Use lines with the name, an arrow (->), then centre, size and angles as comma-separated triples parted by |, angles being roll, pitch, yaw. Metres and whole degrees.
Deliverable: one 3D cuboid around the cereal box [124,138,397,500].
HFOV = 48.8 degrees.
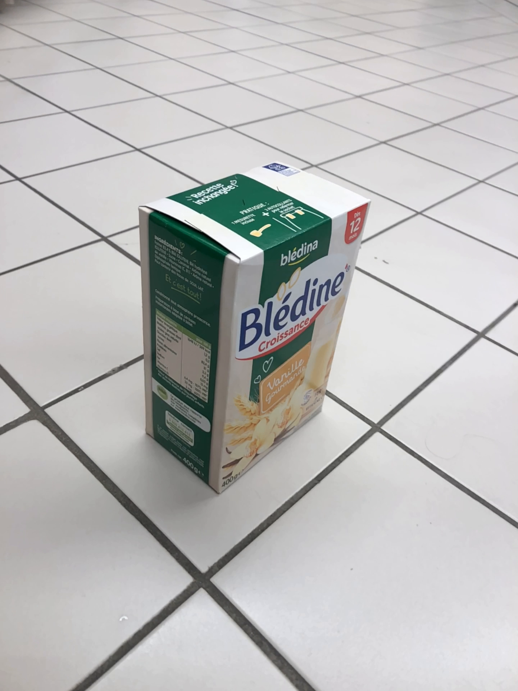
cereal box -> -0.004, -0.022, 0.409 | 0.100, 0.199, 0.141 | 32, 44, 29
